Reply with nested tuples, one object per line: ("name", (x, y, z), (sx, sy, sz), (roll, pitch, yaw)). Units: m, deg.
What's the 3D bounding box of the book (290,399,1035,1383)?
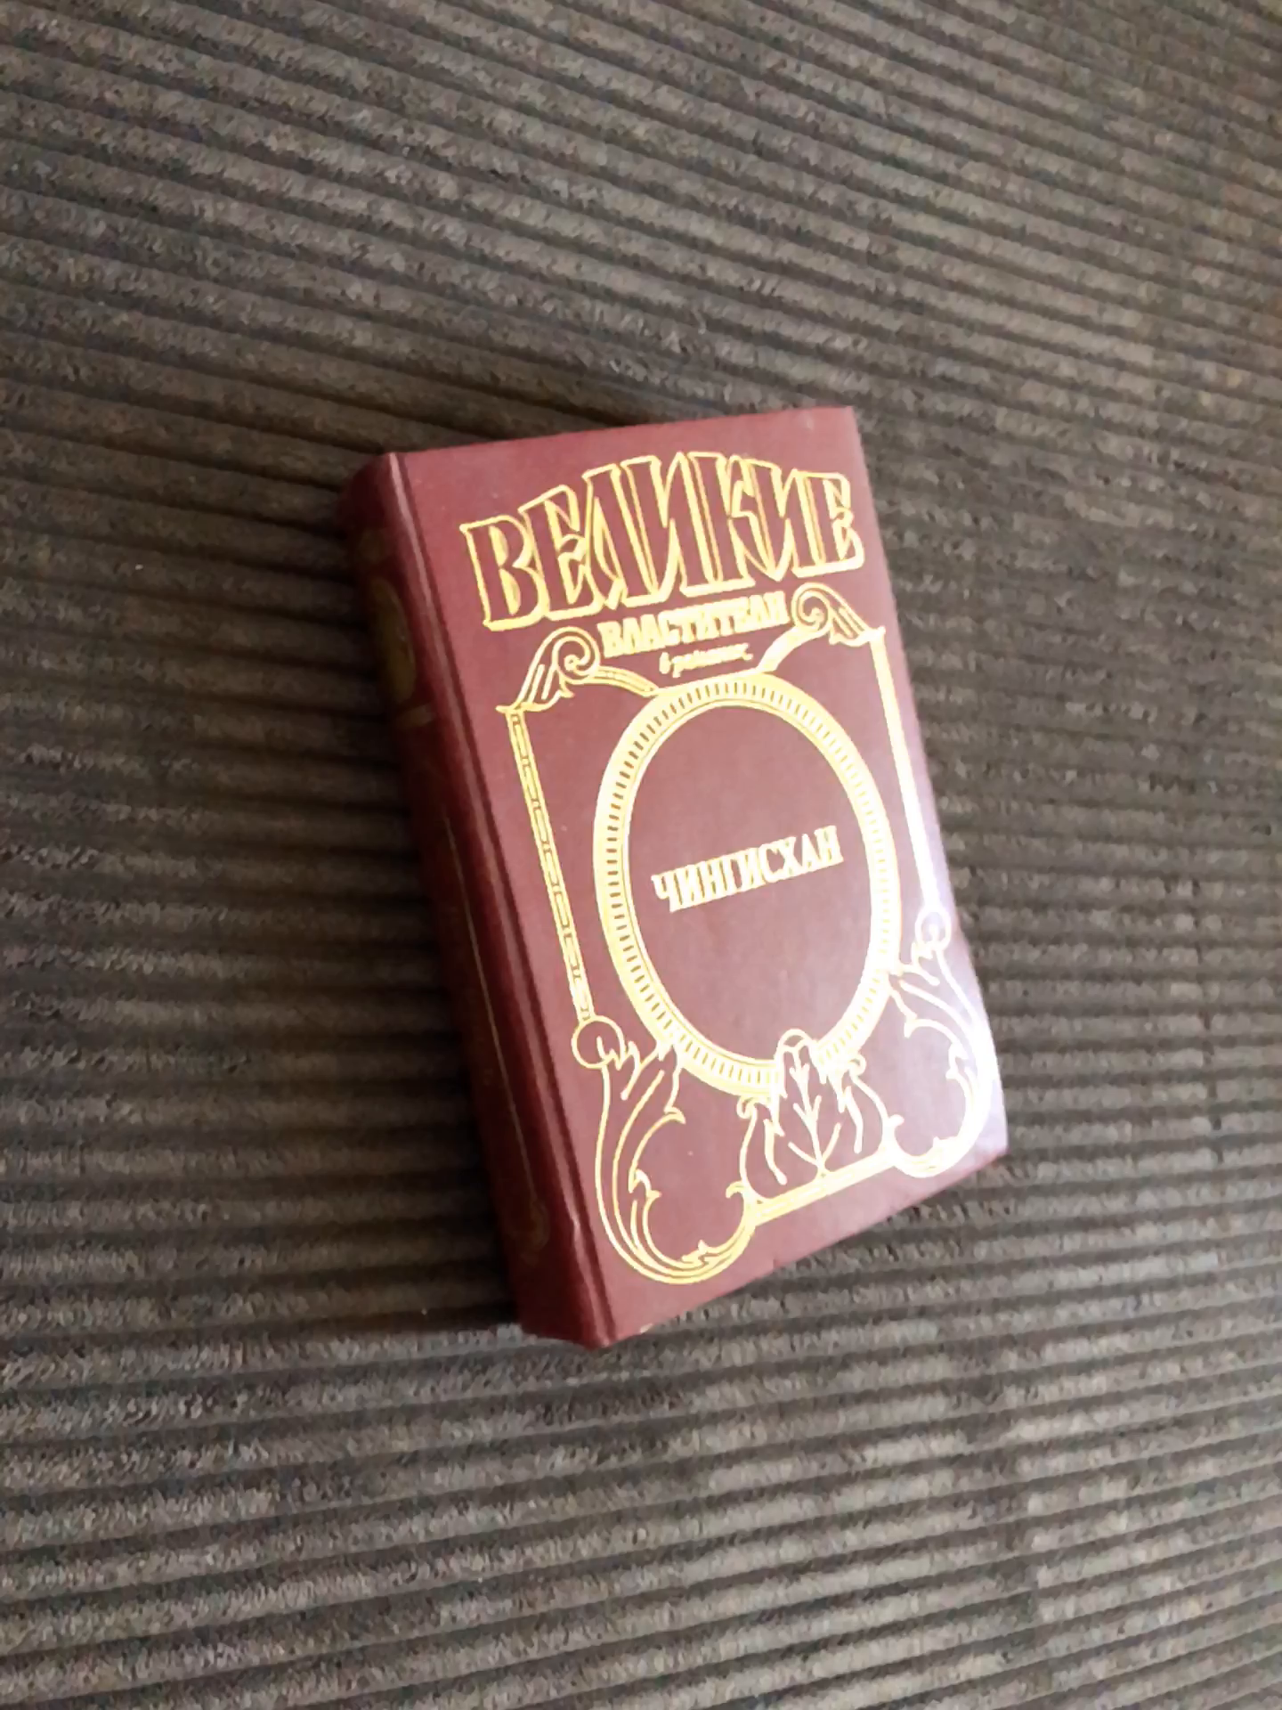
("book", (0.010, 0.000, 0.354), (0.138, 0.050, 0.202), (-15, 94, -29))
